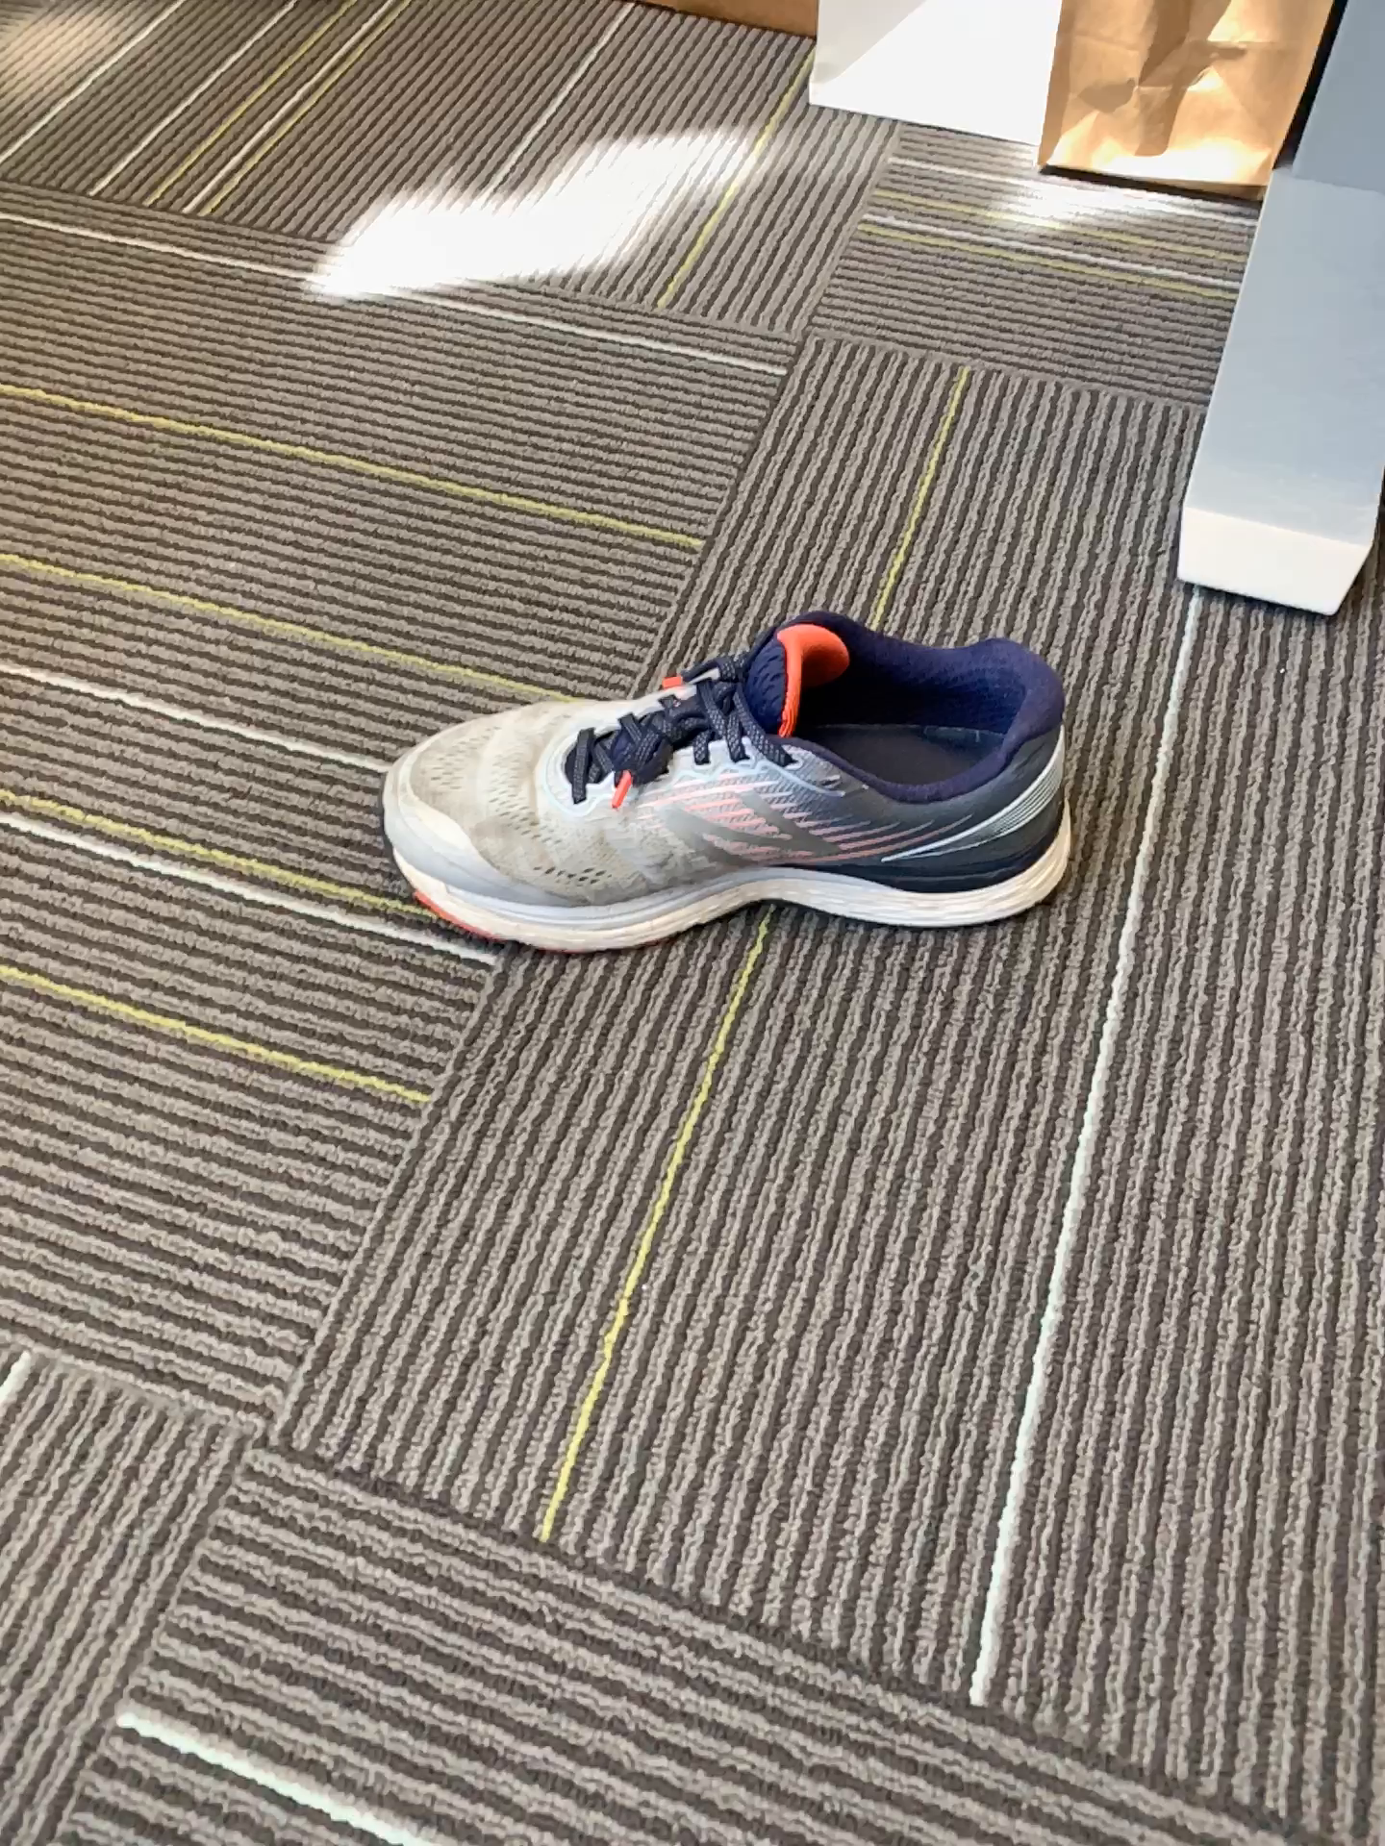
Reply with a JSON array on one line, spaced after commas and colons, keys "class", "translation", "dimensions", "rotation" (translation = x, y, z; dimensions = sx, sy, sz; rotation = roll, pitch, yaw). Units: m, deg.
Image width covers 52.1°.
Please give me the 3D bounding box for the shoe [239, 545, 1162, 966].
[{"class": "shoe", "translation": [0.003, -0.062, 0.537], "dimensions": [0.300, 0.110, 0.110], "rotation": [1, 57, 1]}]
